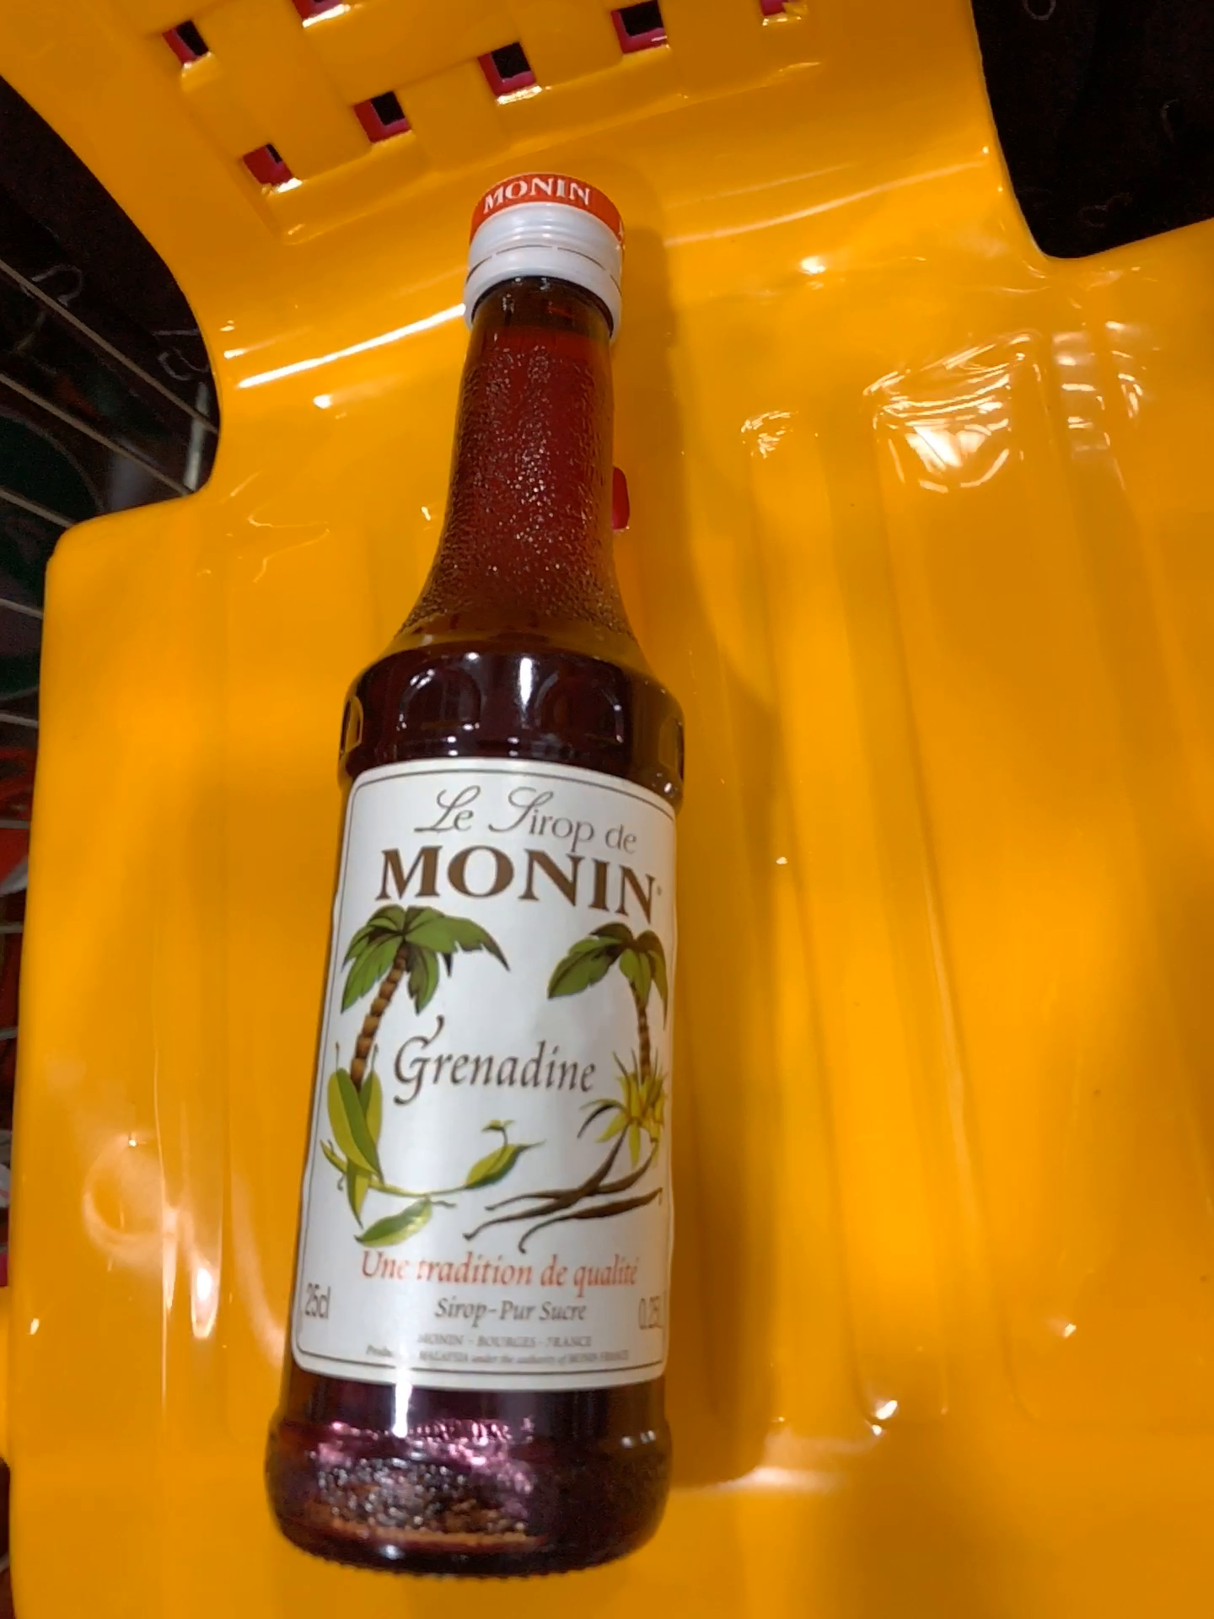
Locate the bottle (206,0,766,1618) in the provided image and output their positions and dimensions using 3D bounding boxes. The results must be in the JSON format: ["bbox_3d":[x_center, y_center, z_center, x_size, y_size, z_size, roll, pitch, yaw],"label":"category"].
[{"bbox_3d":[-0.014,-0.019,0.194,0.060,0.050,0.240,7,72,-14],"label":"bottle"}]
